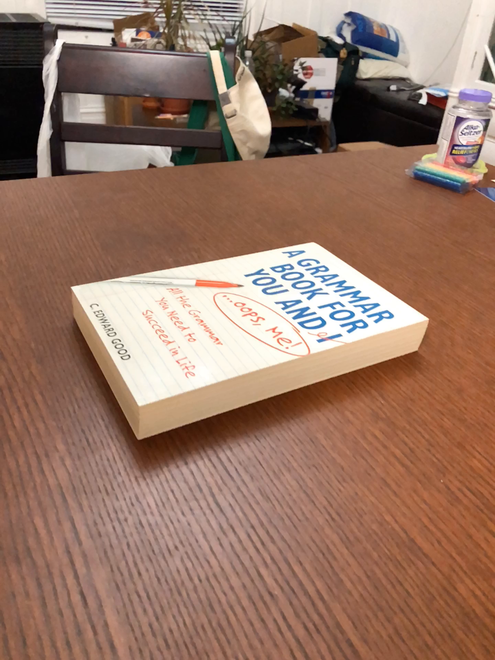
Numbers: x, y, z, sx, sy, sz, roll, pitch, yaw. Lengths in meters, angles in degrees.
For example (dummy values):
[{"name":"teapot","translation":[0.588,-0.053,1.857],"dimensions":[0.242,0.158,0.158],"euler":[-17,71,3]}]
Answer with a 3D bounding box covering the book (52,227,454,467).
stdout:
[{"name":"book","translation":[-0.001,-0.010,0.406],"dimensions":[0.240,0.040,0.171],"euler":[-14,37,-26]}]
